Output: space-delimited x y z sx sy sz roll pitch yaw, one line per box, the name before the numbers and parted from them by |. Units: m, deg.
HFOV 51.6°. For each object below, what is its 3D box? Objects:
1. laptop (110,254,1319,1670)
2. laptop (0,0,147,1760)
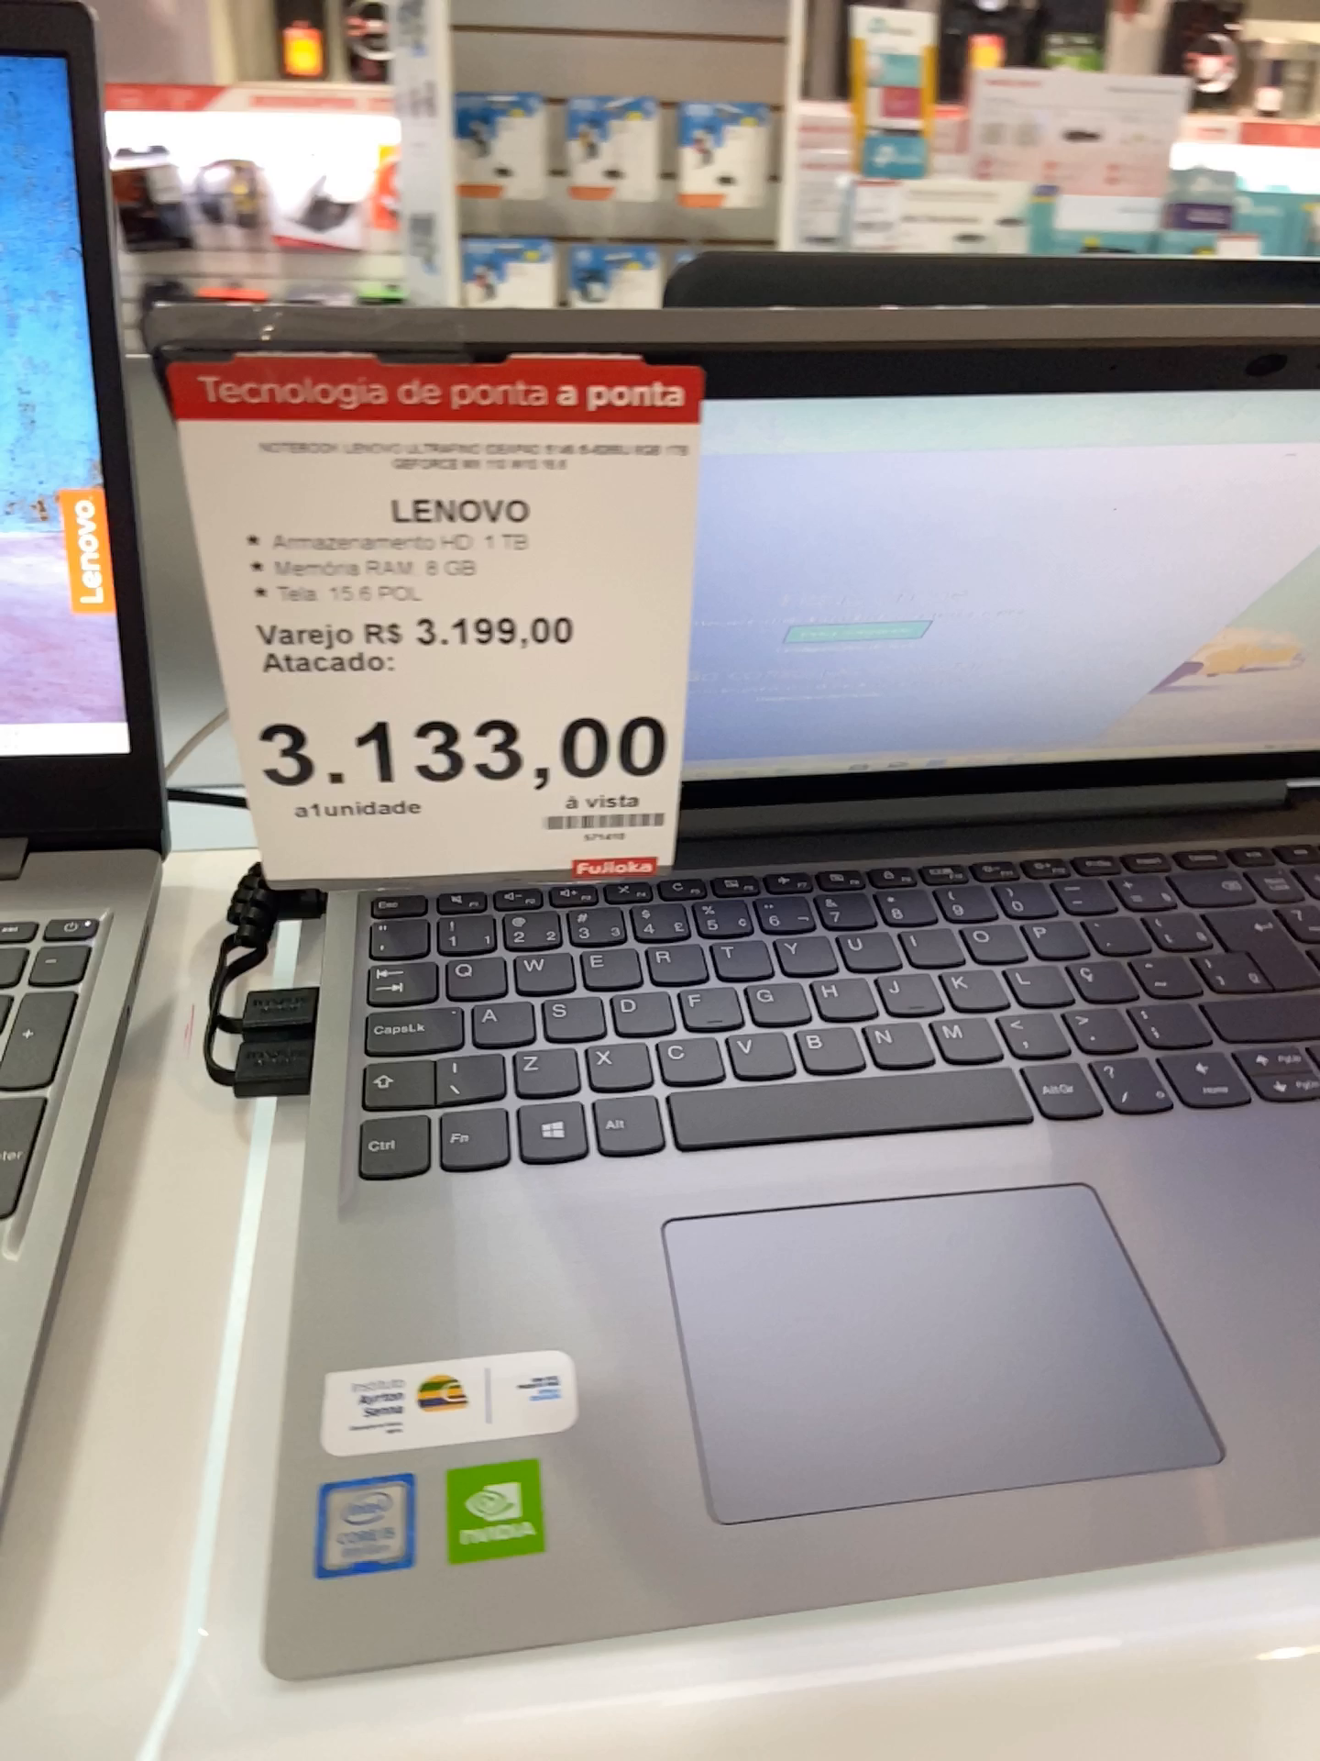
laptop | 0.094 -0.023 0.318 0.359 0.163 0.243 -3 35 -8
laptop | -0.322 -0.069 0.290 0.346 0.224 0.353 -2 34 -11
